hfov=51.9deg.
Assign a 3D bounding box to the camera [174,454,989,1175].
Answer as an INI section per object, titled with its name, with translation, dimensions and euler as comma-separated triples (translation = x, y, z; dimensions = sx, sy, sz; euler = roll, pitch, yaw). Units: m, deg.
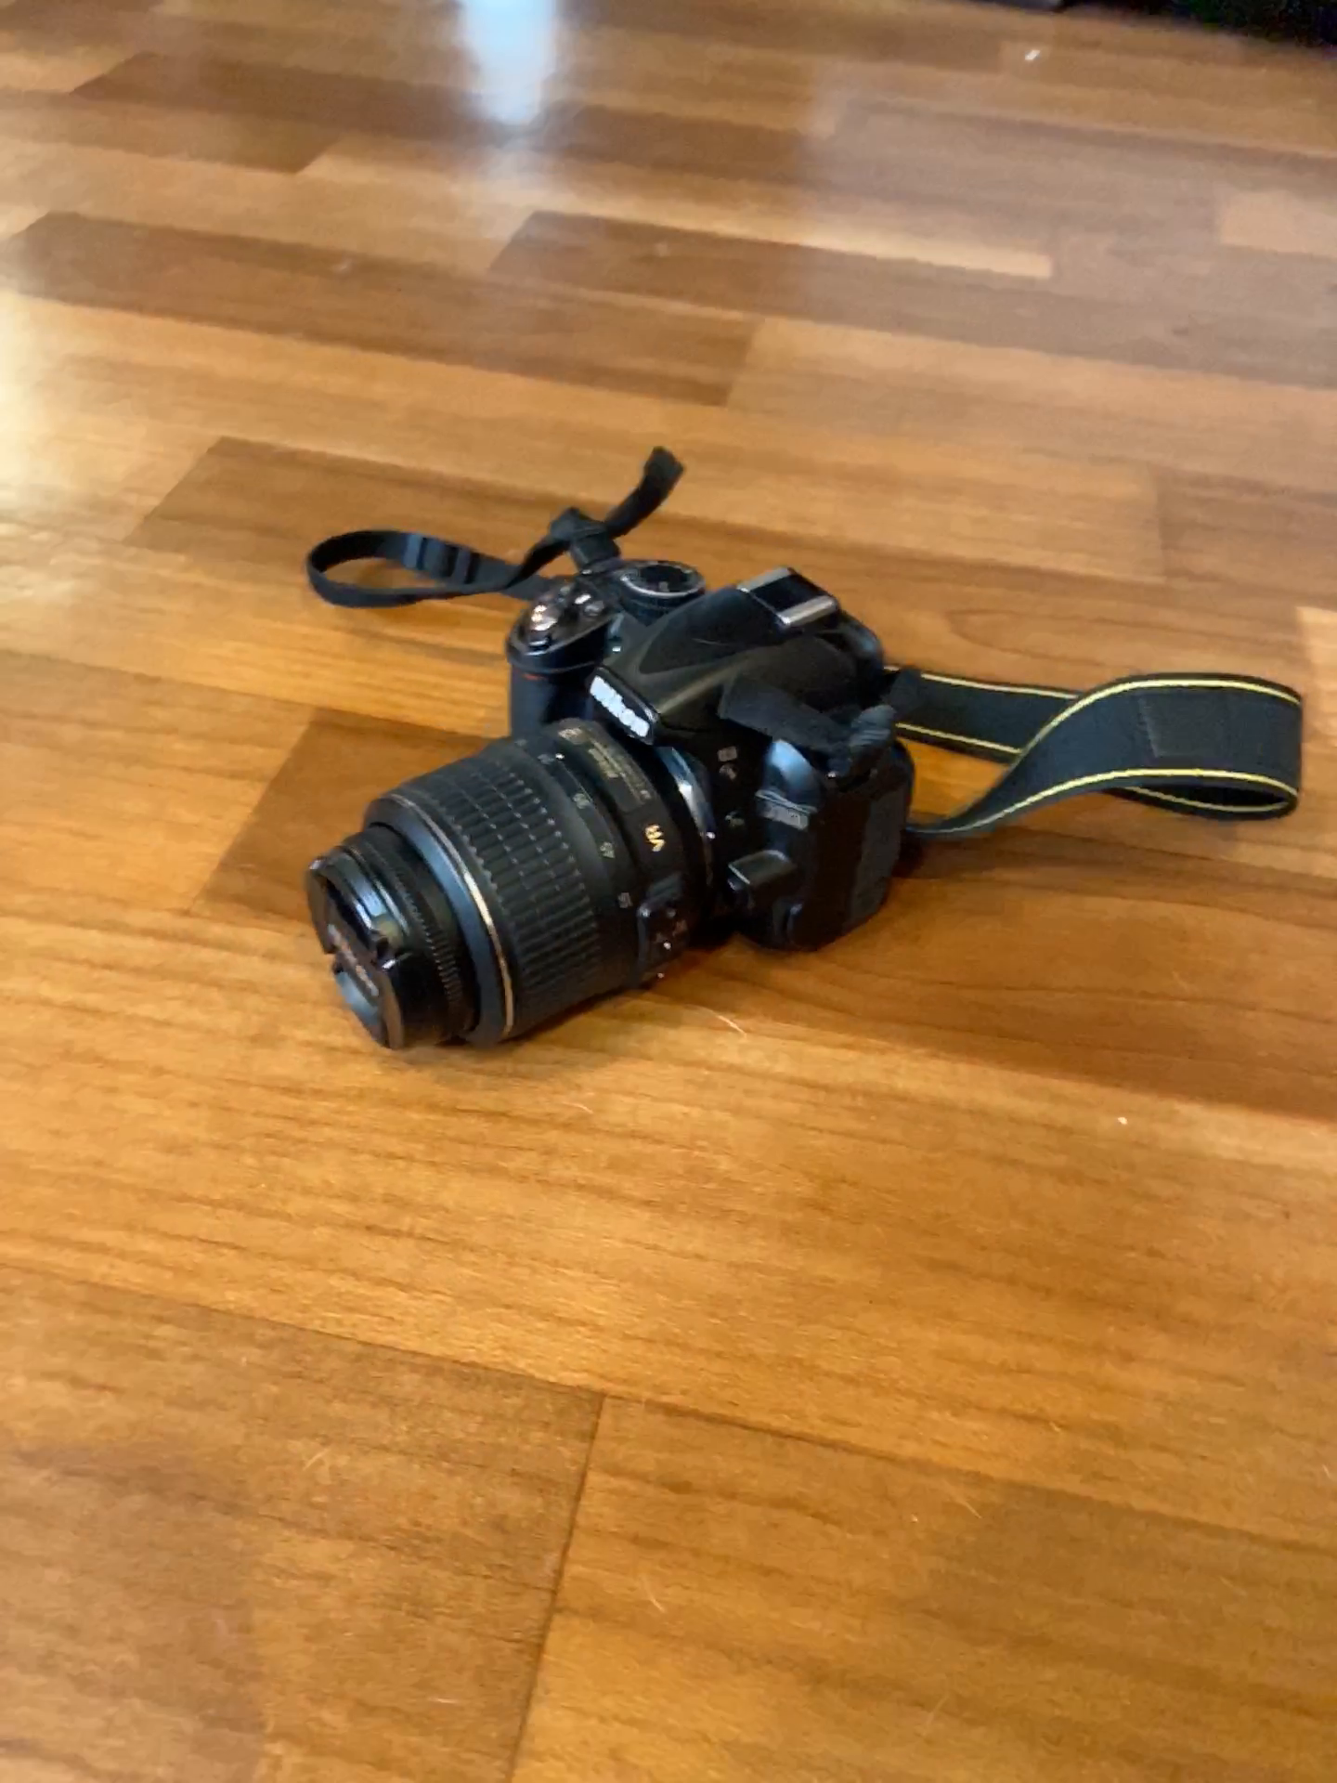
[camera]
translation = -0.022, -0.031, 0.371
dimensions = 0.162, 0.090, 0.121
euler = -28, 53, -28
